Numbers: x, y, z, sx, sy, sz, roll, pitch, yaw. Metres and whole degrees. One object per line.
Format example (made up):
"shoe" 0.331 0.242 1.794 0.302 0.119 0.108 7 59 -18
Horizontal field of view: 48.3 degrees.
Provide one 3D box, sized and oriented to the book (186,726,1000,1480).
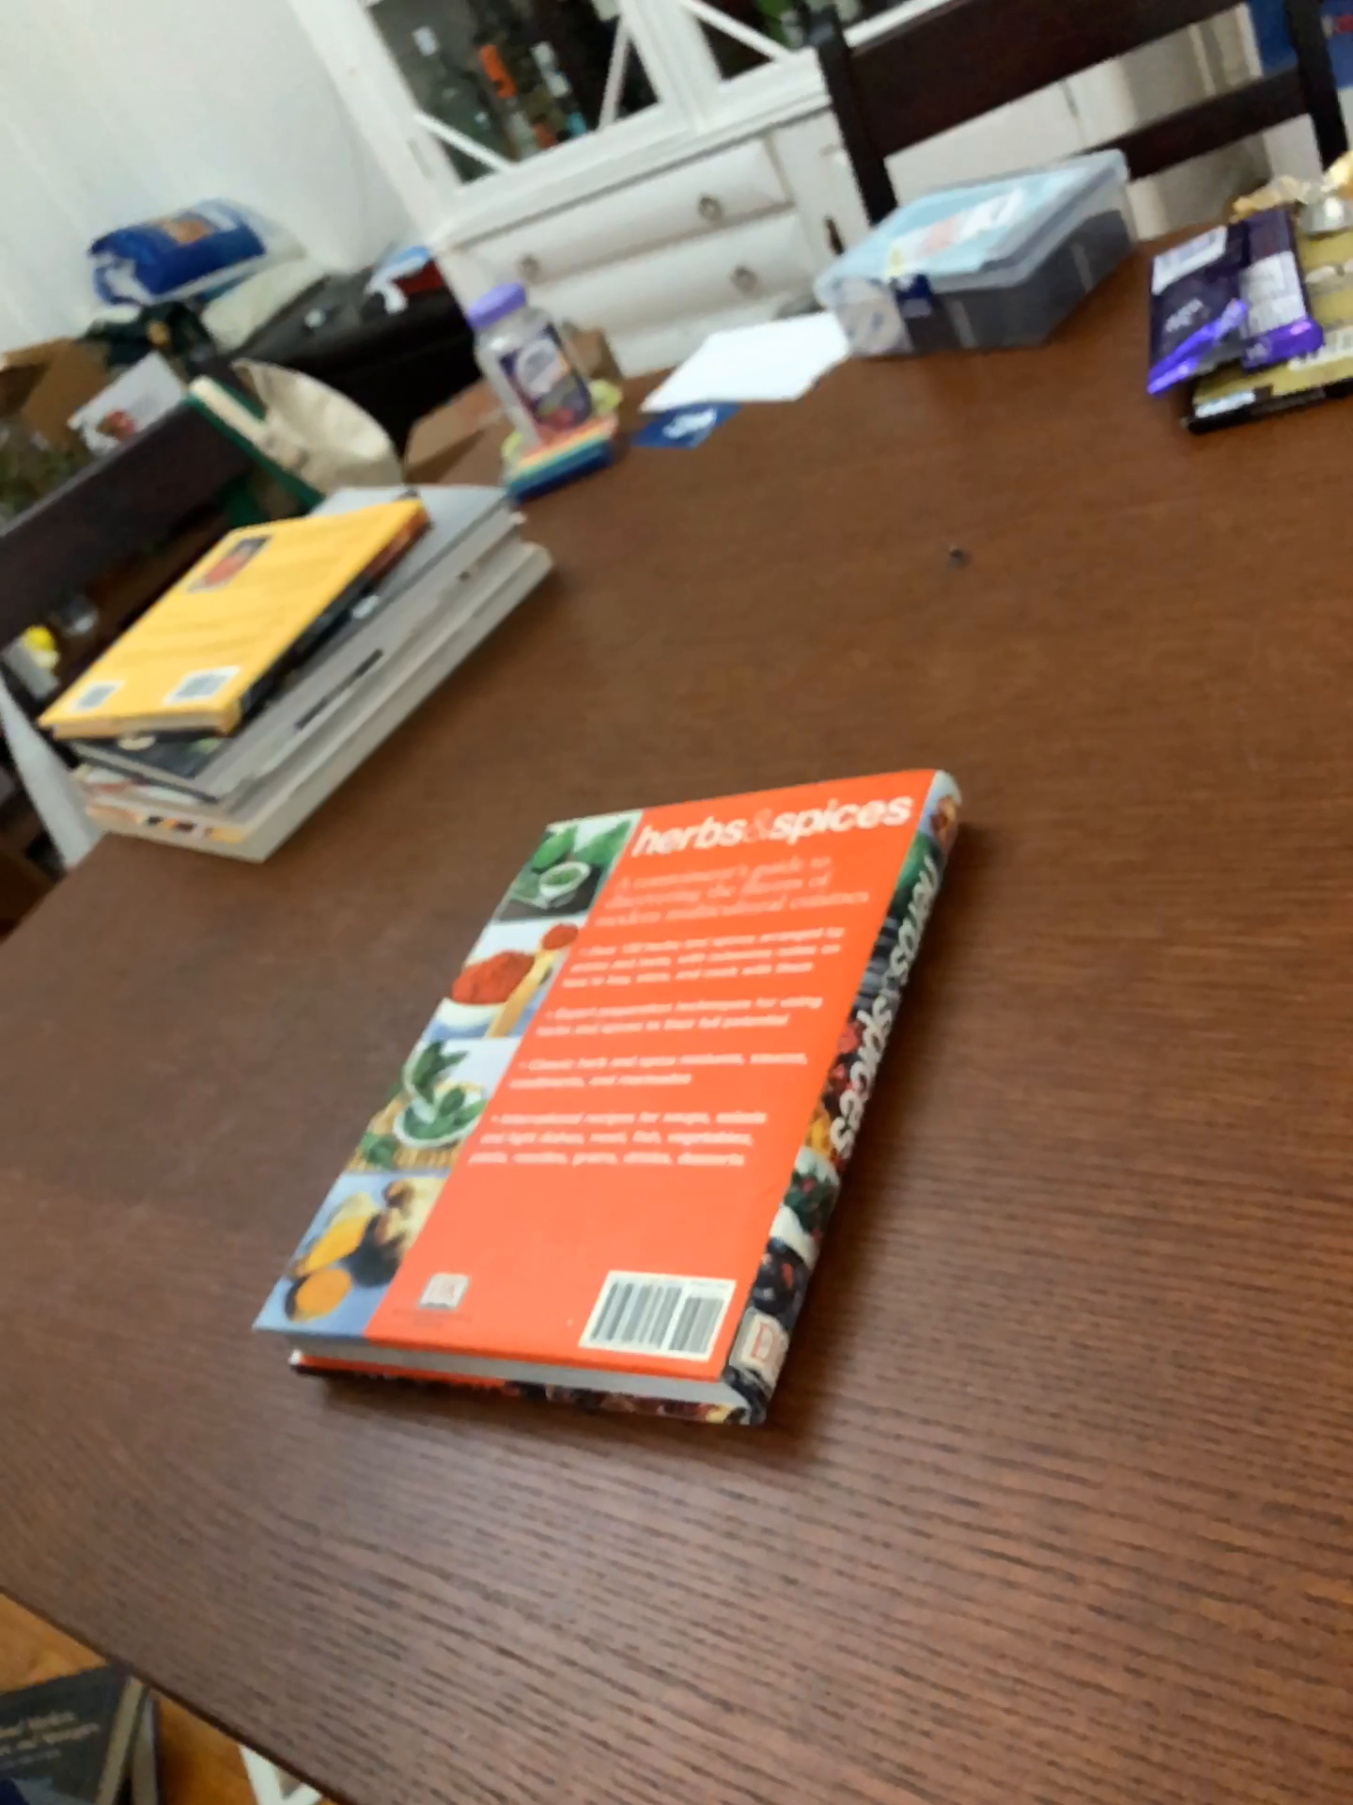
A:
"book" -0.020 0.053 0.538 0.210 0.040 0.271 -5 42 34
